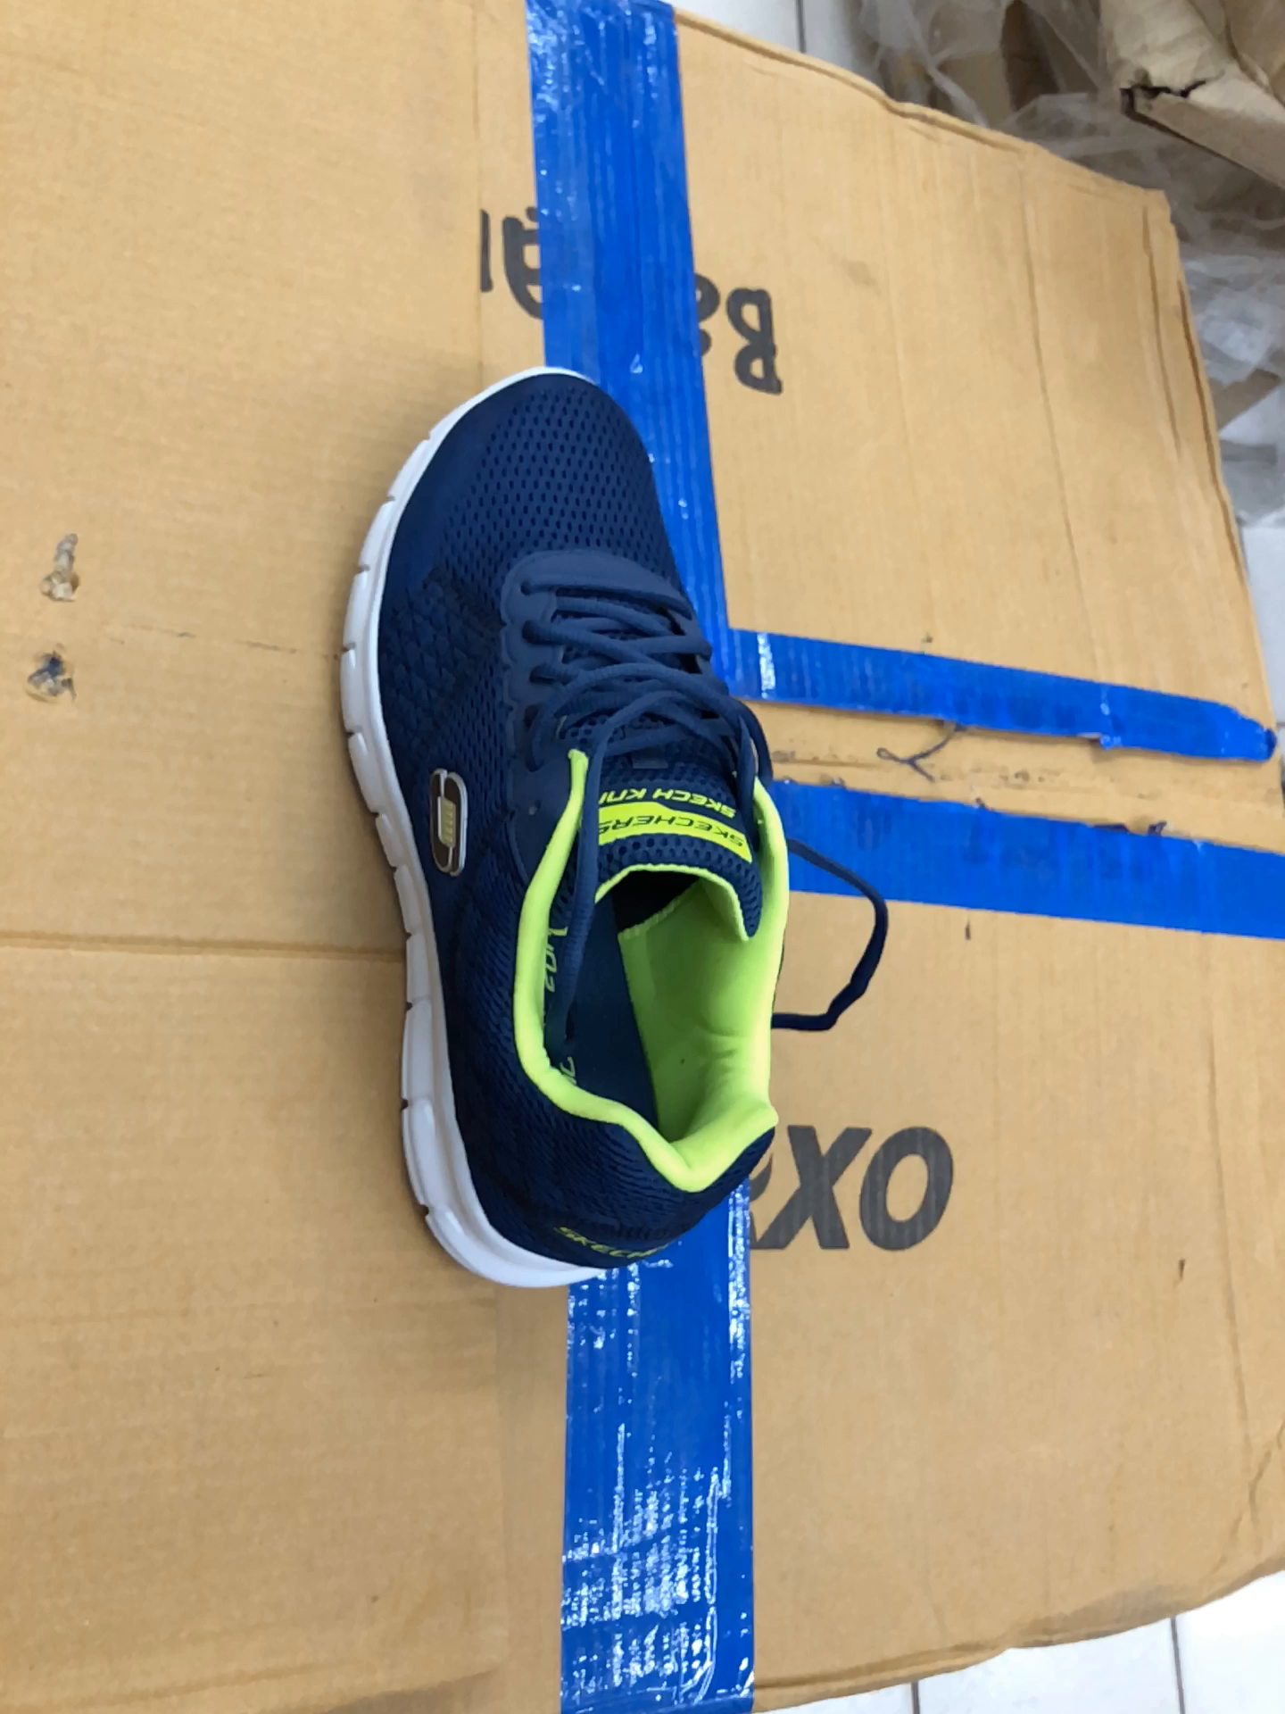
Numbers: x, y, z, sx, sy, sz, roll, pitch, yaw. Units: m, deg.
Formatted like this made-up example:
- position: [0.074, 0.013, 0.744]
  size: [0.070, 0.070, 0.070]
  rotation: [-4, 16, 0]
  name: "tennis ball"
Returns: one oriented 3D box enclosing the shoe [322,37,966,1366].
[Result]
- position: [-0.016, -0.032, 0.400]
  size: [0.107, 0.146, 0.307]
  rotation: [3, 76, -27]
  name: "shoe"
